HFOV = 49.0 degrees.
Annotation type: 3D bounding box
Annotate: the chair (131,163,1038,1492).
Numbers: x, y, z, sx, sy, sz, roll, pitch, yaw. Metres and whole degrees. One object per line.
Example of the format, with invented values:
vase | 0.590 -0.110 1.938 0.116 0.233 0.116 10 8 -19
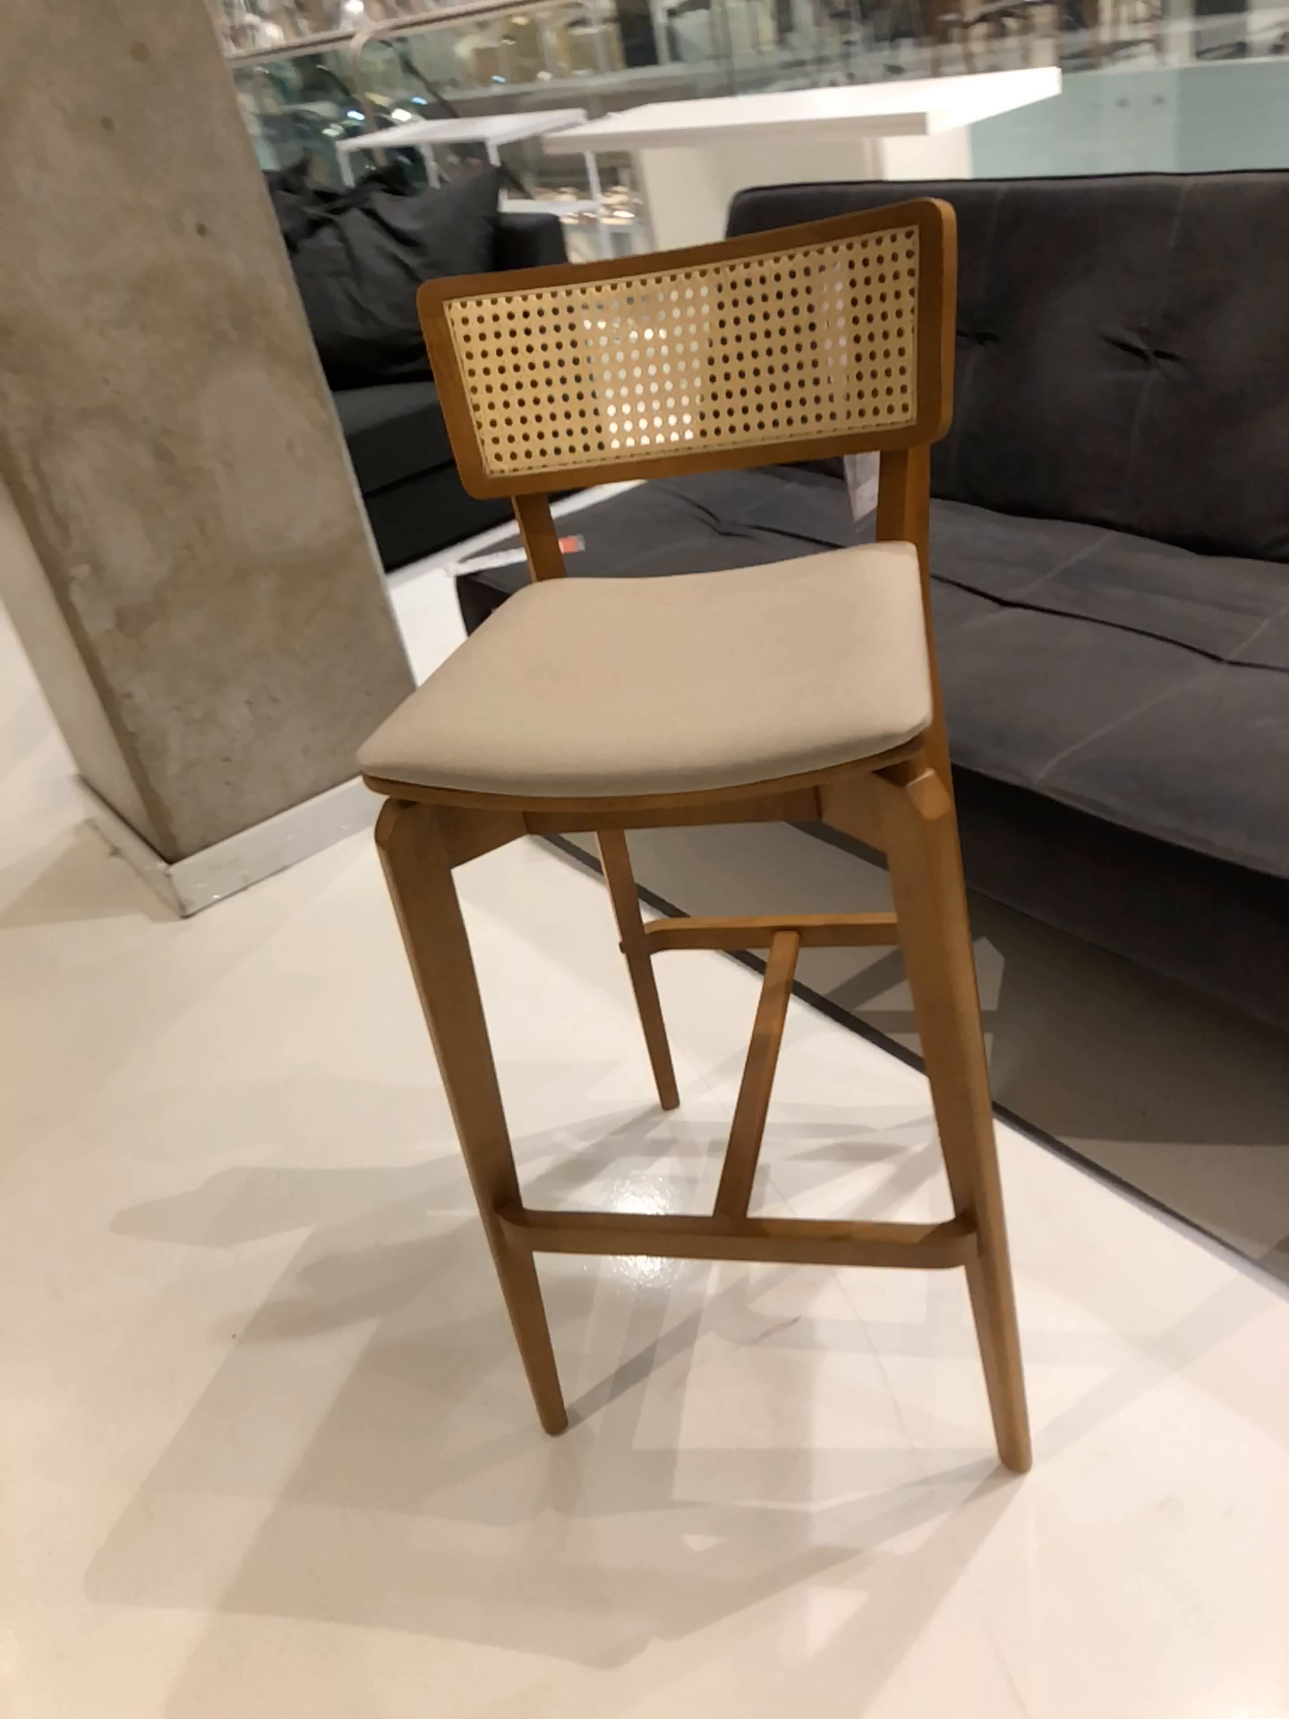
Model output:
chair | 0.068 0.000 1.233 0.470 0.962 0.524 -3 32 16
